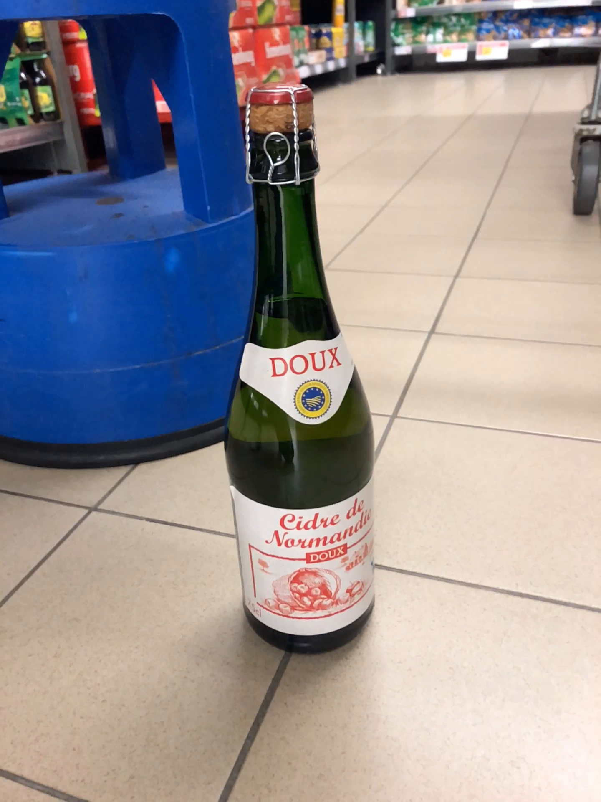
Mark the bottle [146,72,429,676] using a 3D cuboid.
[{"bbox_3d":[-0.001,-0.003,0.340,0.100,0.288,0.090,-6,29,-5],"label":"bottle"}]
